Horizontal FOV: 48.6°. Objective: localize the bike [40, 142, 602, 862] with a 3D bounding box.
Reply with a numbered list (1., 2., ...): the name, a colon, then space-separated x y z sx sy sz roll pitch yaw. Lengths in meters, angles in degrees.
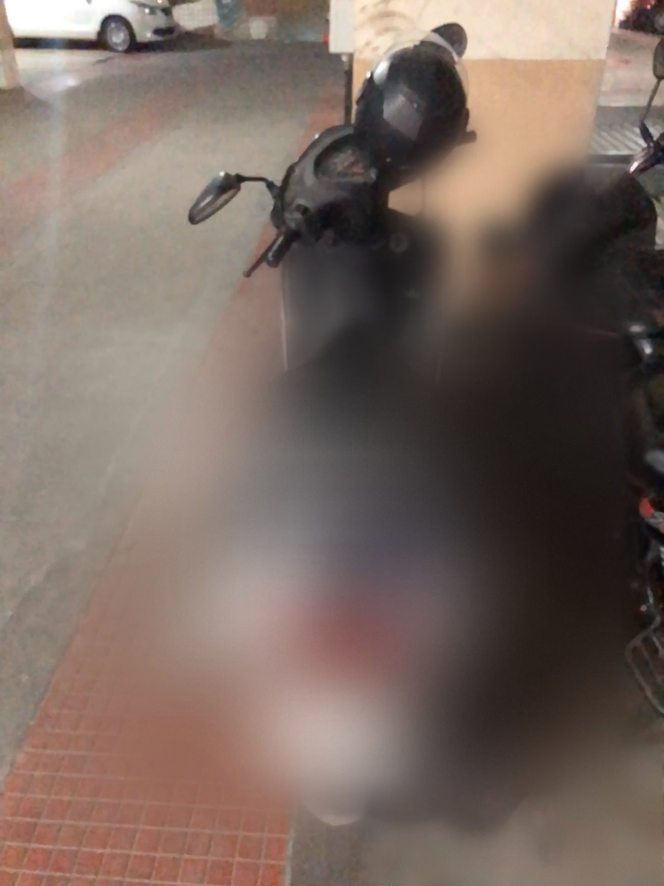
1. bike: -0.065 -0.061 1.698 0.594 0.989 1.501 -1 30 -2
